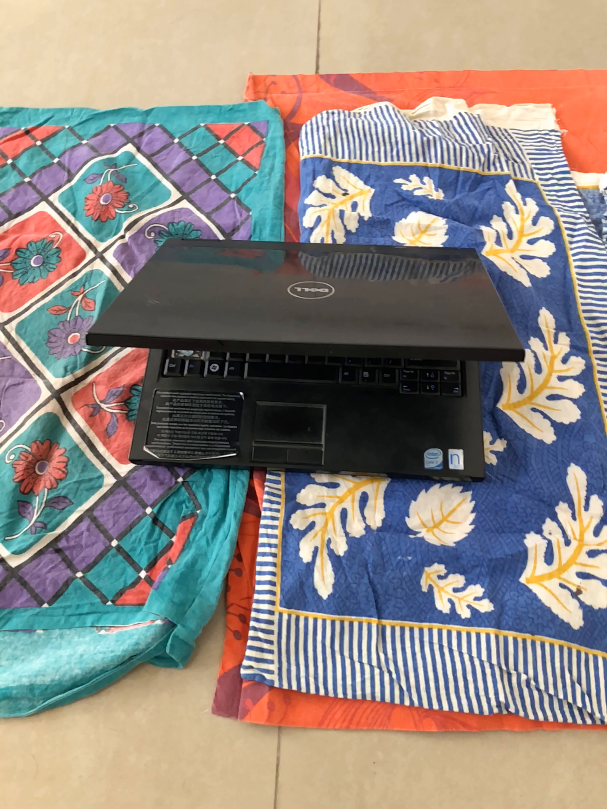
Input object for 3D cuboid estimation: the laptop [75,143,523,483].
[{"bbox_3d":[0.004,-0.077,0.563,0.298,0.143,0.235,3,62,3],"label":"laptop"}]
